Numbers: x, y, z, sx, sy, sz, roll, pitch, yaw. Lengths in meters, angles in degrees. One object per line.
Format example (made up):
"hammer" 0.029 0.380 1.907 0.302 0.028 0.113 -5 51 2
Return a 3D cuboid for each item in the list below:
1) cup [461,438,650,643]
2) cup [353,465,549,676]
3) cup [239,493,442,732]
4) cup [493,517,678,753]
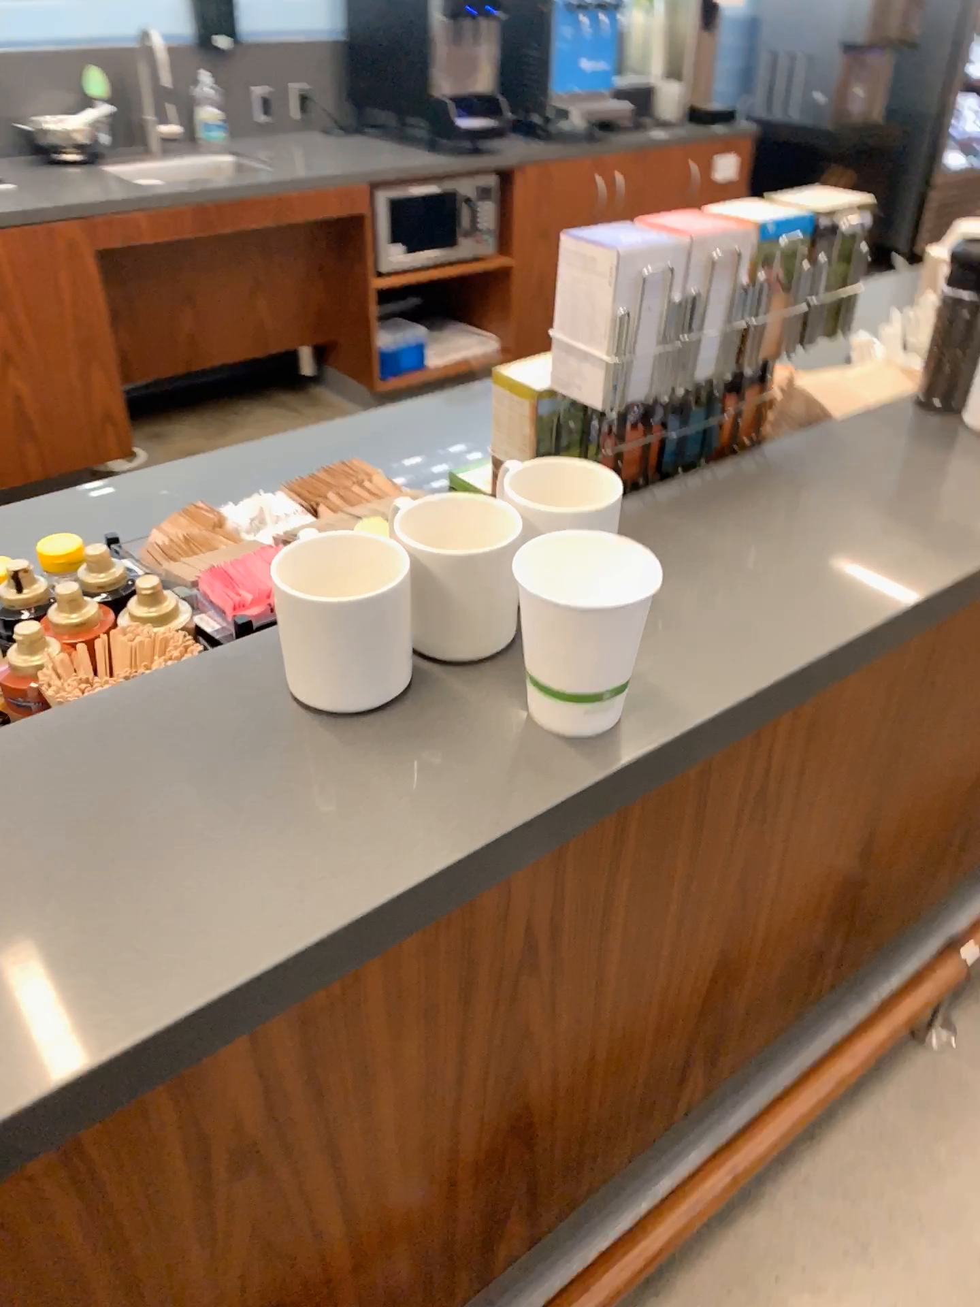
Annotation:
"cup" 0.046 -0.090 0.766 0.090 0.099 0.111 -21 41 -28
"cup" -0.029 -0.062 0.711 0.090 0.089 0.111 -20 40 -27
"cup" -0.100 -0.031 0.675 0.090 0.099 0.111 -20 40 -27
"cup" 0.059 -0.014 0.622 0.090 0.099 0.090 1 35 -1
